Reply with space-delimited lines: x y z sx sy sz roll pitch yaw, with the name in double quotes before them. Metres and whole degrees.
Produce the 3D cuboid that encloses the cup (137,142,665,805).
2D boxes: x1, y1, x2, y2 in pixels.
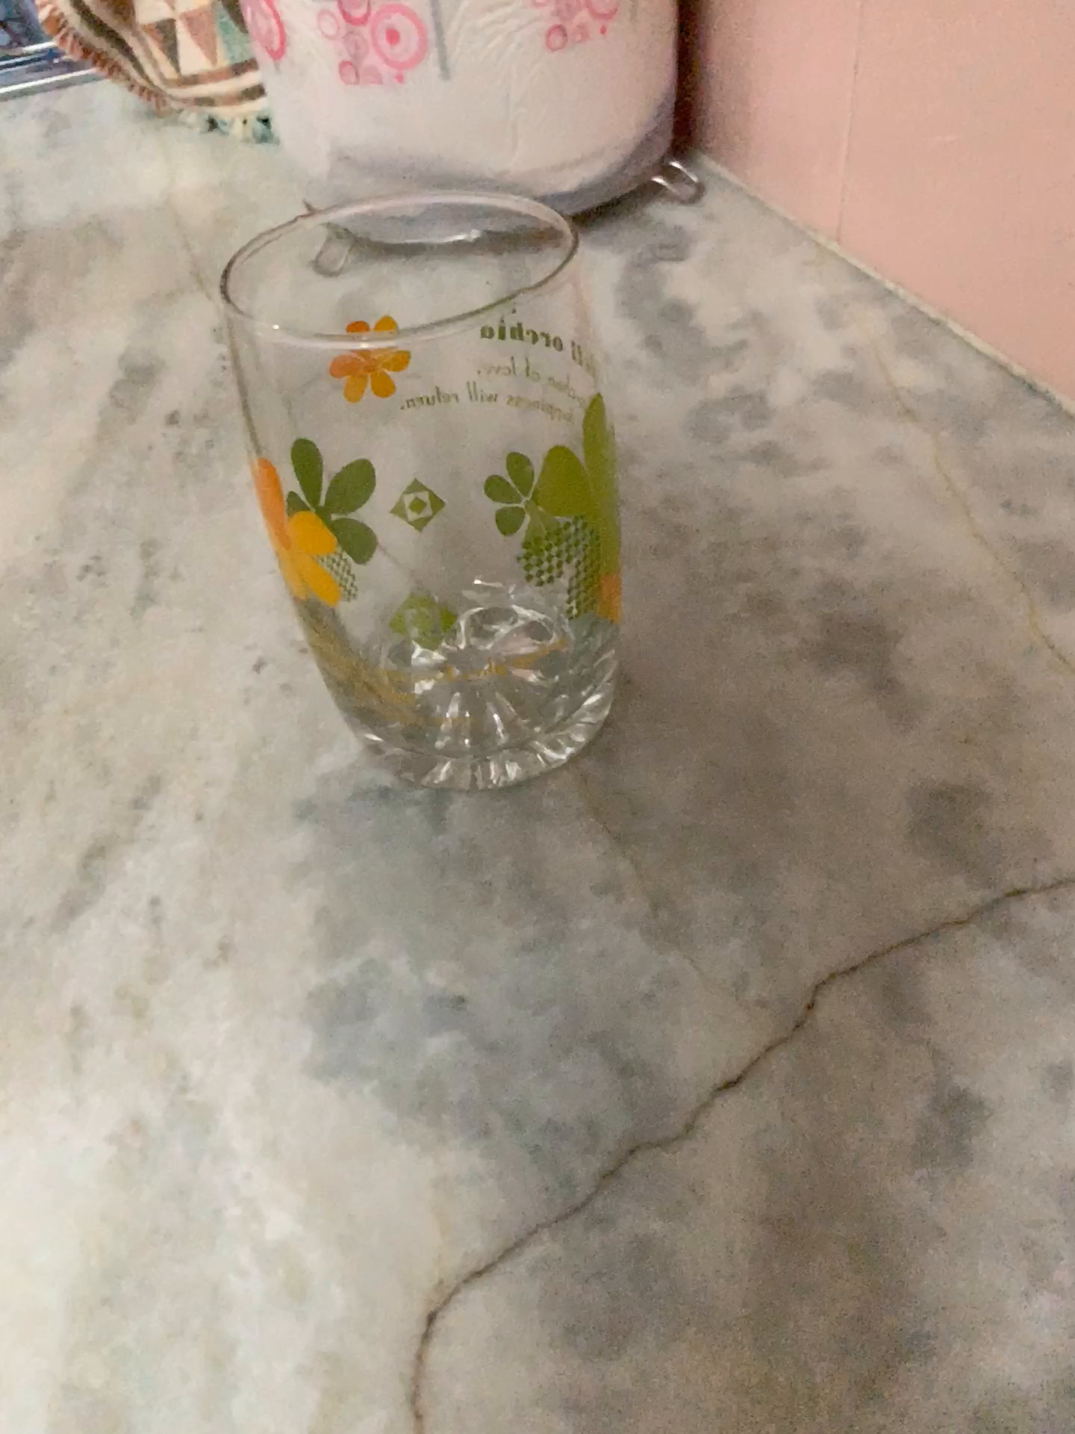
"cup" -0.014 -0.044 0.216 0.070 0.100 0.070 -4 43 4
